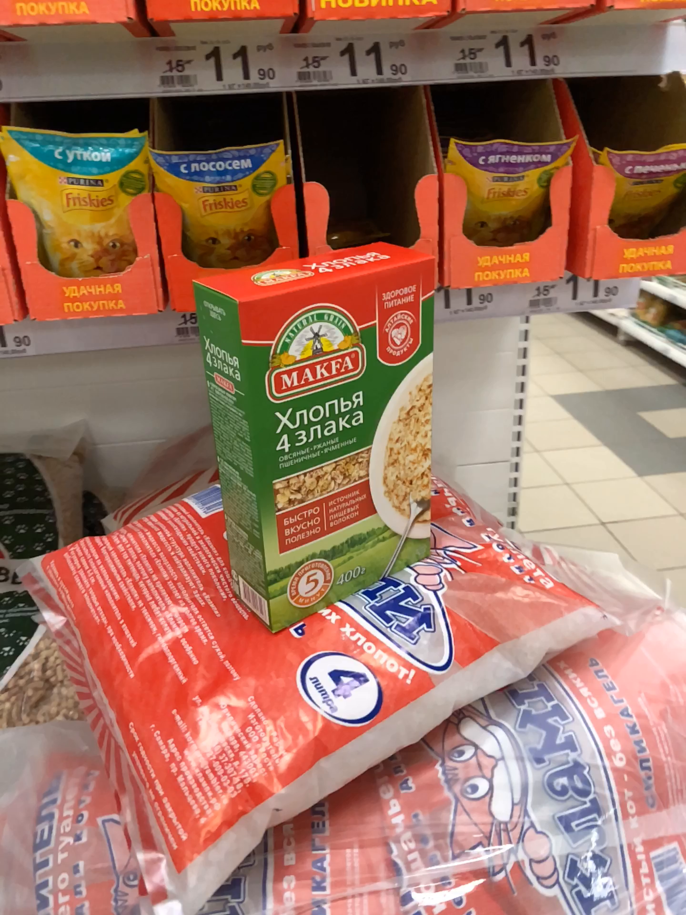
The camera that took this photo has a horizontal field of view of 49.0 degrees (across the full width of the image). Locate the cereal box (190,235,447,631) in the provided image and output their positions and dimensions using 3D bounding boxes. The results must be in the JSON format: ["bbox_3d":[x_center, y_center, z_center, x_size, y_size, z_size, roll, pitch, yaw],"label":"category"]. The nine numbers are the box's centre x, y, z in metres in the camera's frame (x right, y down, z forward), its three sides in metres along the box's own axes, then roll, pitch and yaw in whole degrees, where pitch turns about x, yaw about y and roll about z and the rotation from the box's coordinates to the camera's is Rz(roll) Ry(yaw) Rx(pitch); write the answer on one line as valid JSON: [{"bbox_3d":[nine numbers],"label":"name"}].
[{"bbox_3d":[-0.006,-0.017,0.467,0.140,0.209,0.050,-21,32,-31],"label":"cereal box"}]
